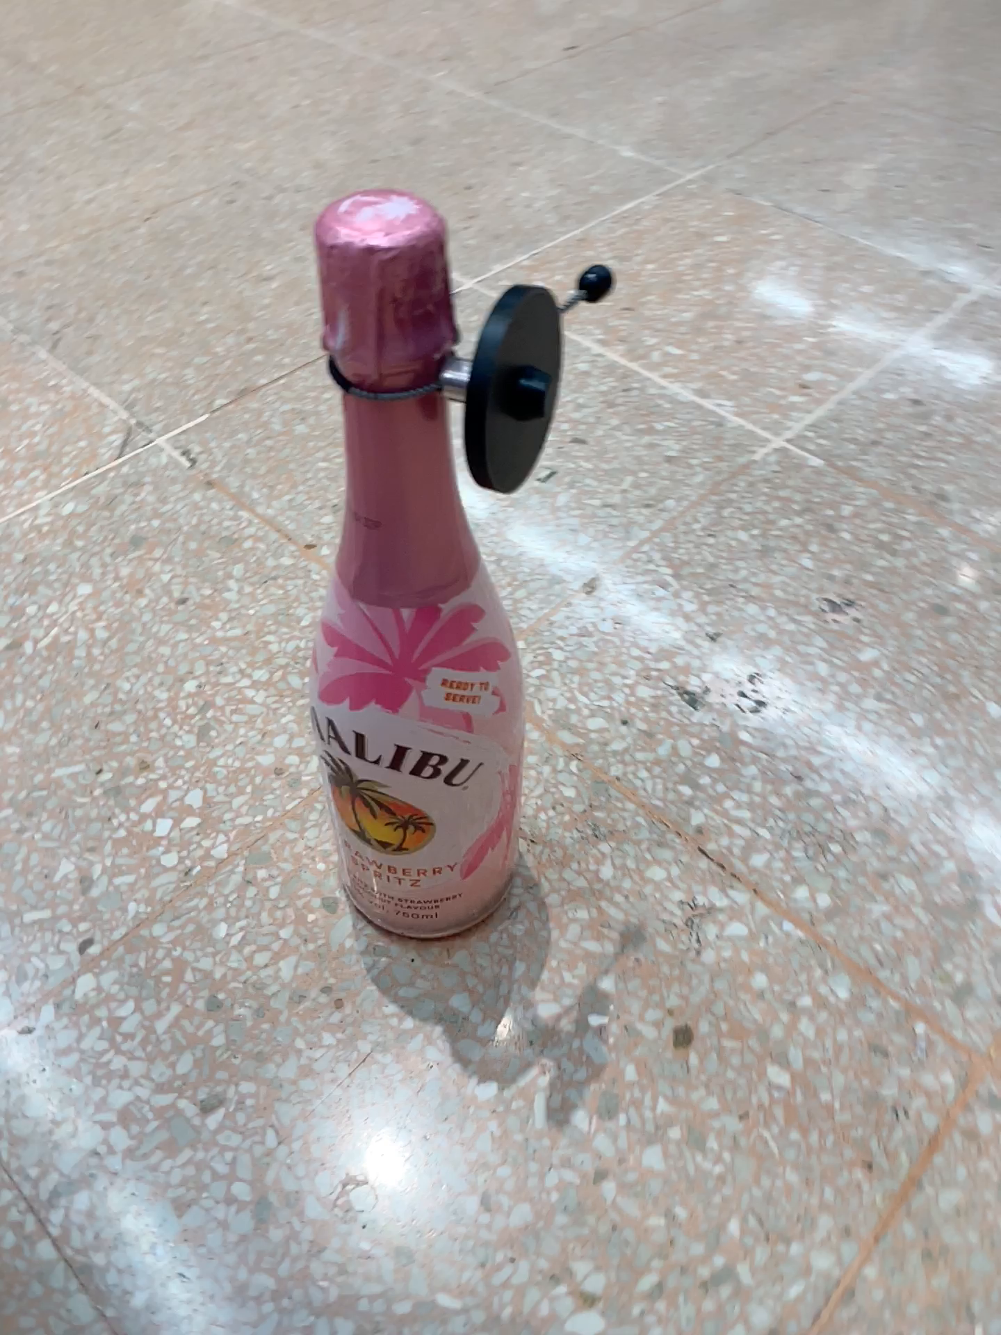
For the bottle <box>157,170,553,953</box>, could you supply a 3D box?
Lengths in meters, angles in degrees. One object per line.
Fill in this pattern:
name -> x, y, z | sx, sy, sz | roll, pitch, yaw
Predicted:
bottle -> -0.033, -0.009, 0.361 | 0.080, 0.286, 0.081 | 0, 48, 0
